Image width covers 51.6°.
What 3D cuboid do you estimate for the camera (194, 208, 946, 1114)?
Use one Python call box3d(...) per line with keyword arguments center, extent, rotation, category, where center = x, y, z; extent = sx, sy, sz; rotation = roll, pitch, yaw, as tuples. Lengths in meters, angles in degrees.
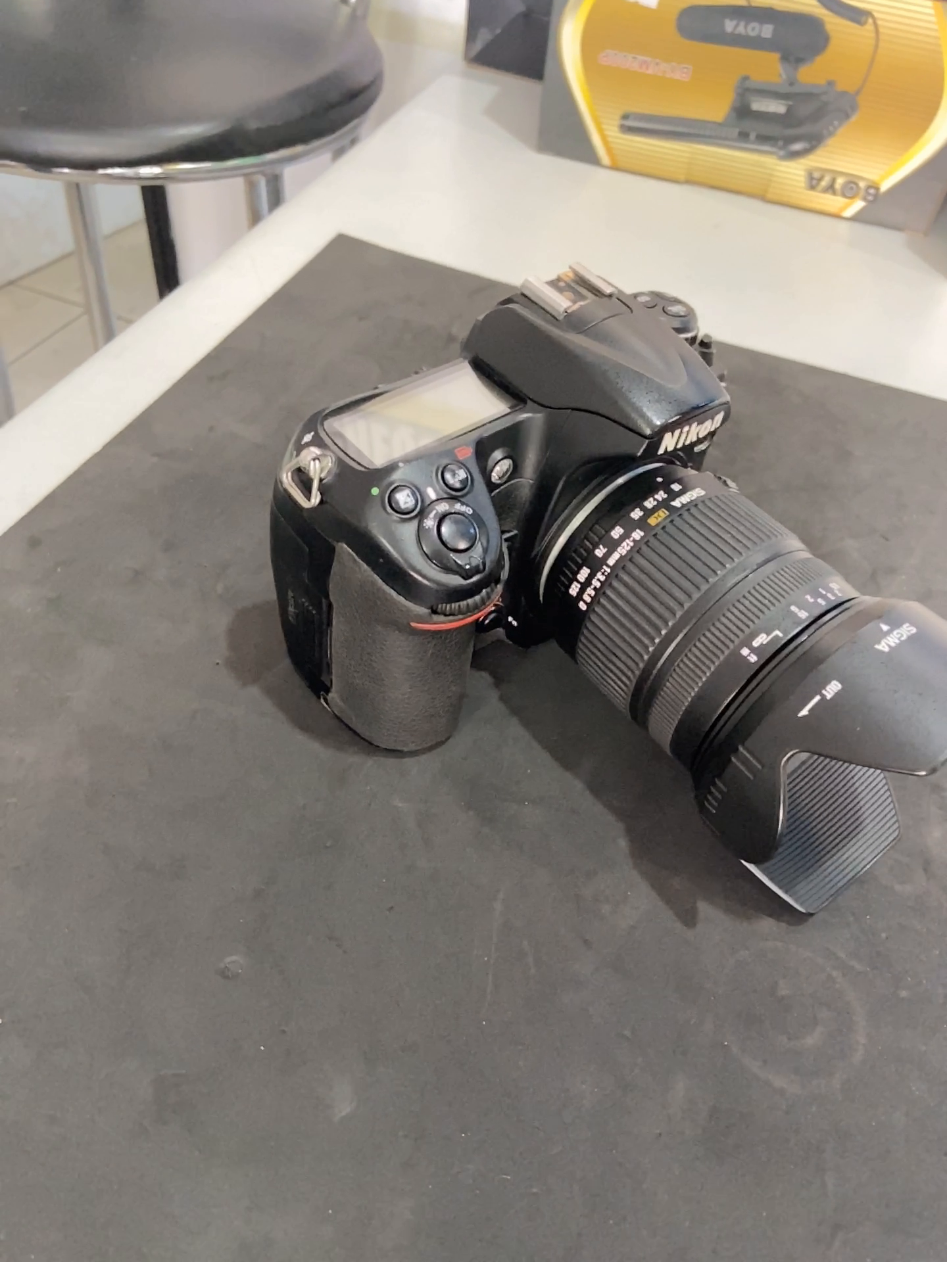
box3d(center=(0.048, -0.013, 0.277), extent=(0.171, 0.109, 0.180), rotation=(-27, 54, -27), category="camera")
